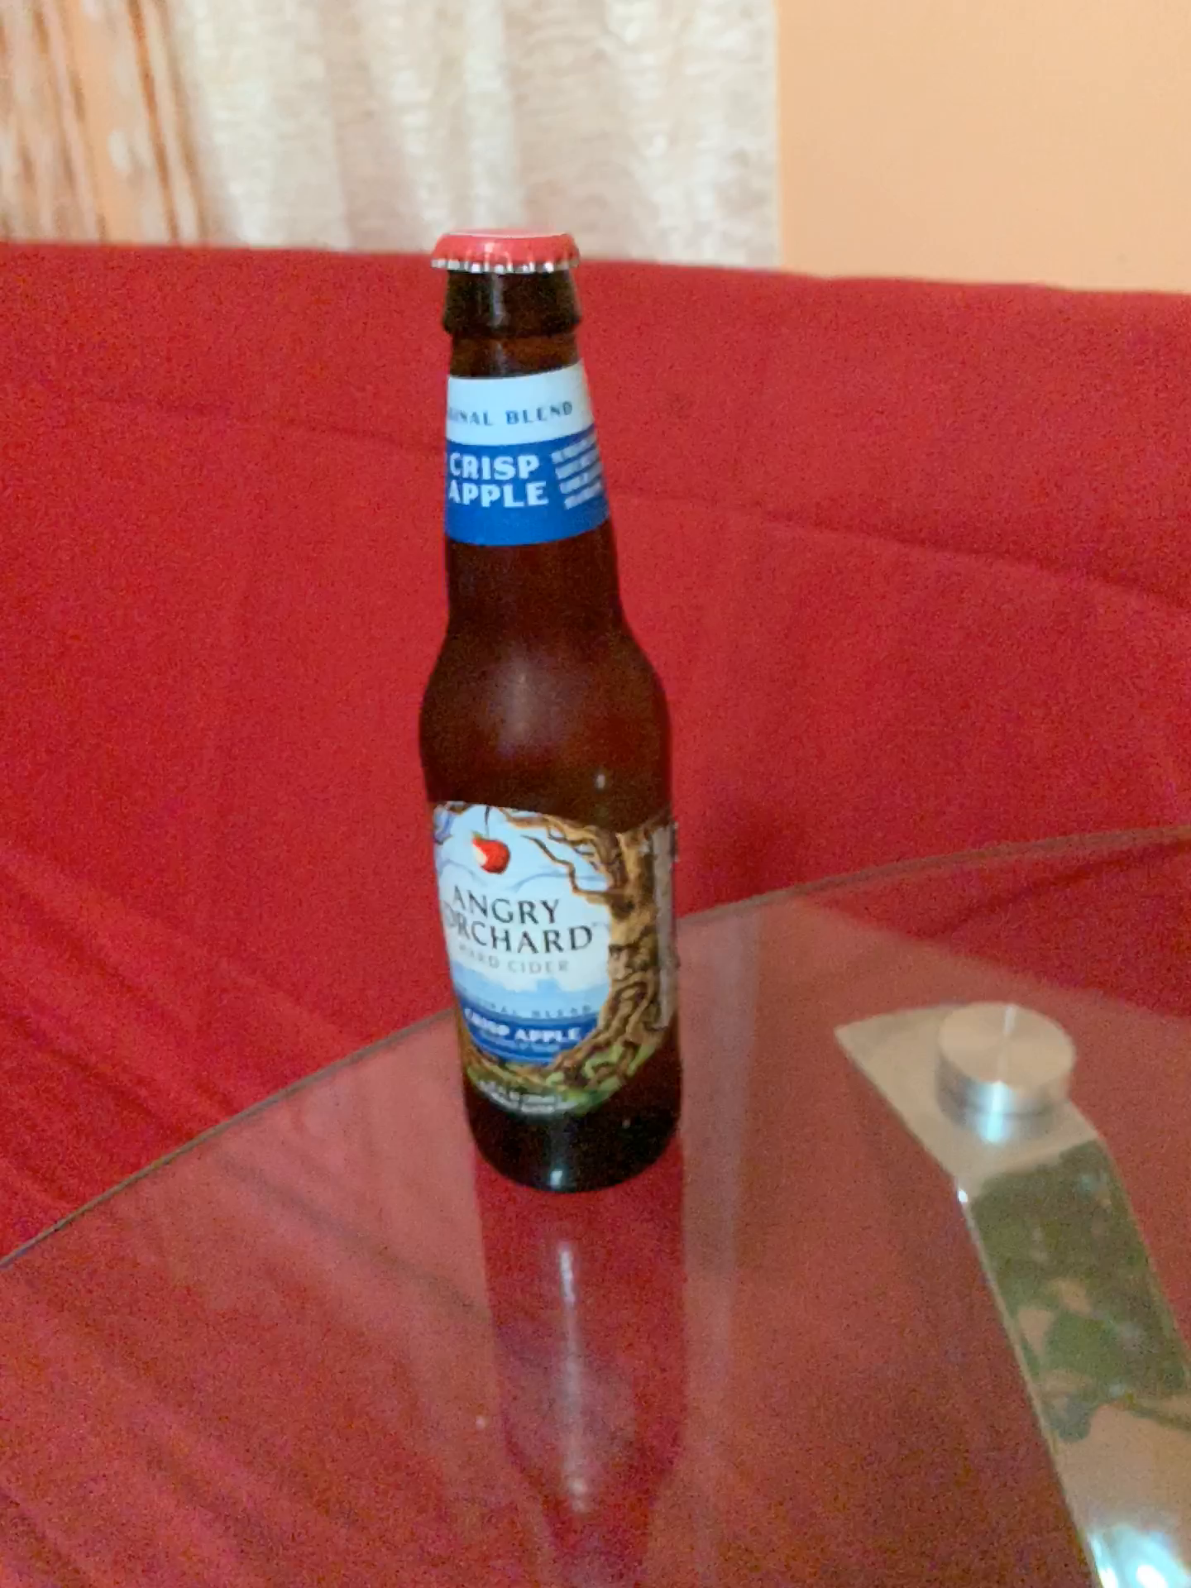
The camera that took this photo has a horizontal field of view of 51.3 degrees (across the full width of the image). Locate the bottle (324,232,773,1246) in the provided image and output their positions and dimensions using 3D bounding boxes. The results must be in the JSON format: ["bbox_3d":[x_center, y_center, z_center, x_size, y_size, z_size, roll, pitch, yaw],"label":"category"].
[{"bbox_3d":[-0.004,-0.009,0.304,0.070,0.231,0.070,-1,26,1],"label":"bottle"}]
